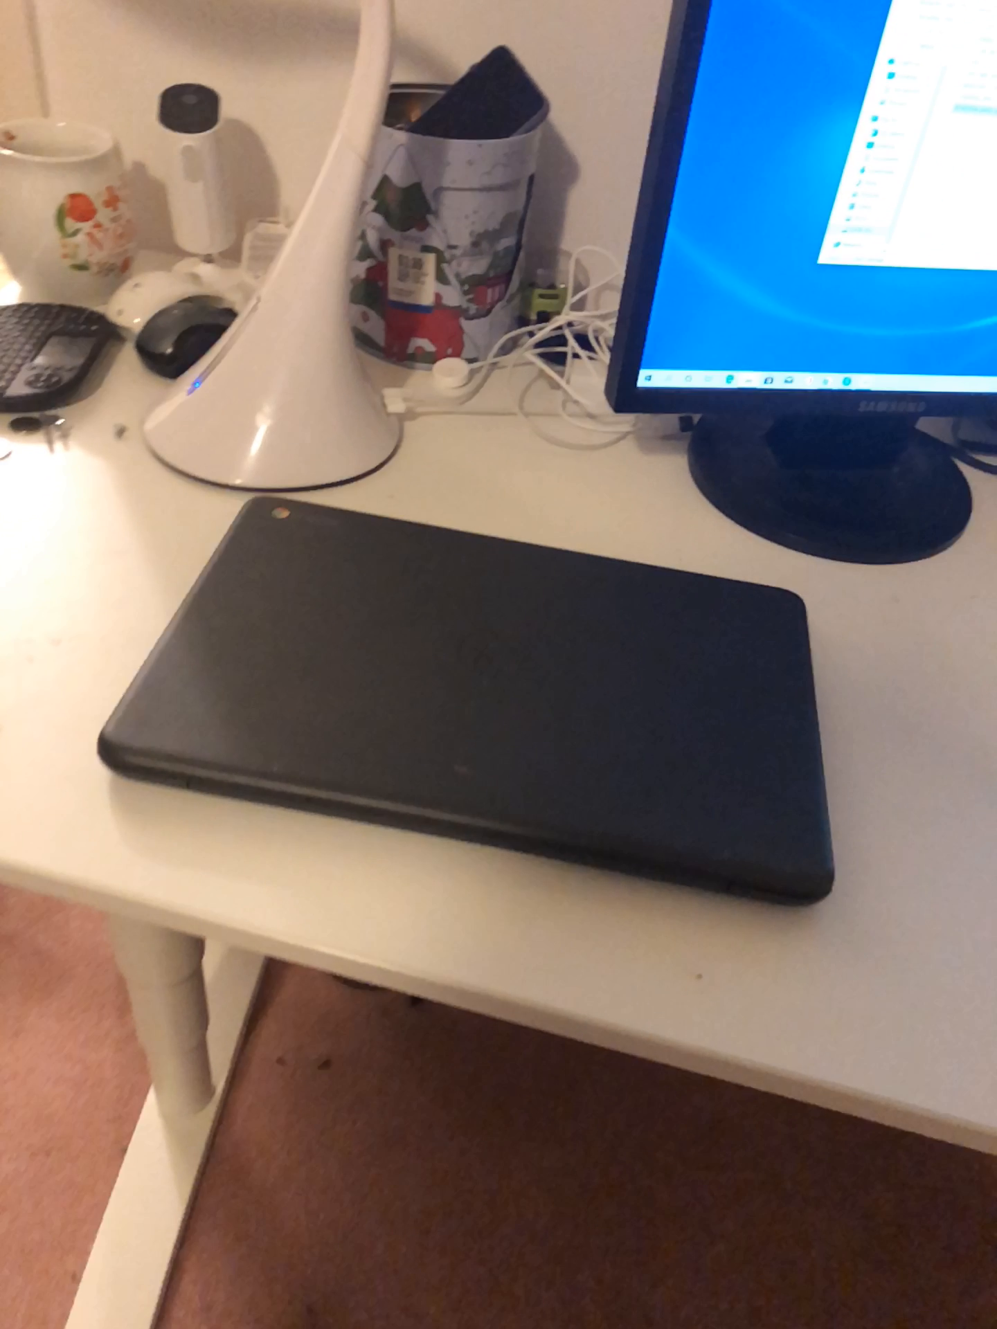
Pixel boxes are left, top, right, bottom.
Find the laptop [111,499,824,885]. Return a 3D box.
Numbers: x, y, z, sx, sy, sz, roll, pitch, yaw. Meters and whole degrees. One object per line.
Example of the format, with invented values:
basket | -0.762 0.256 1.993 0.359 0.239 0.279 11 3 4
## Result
laptop | -0.002 -0.001 0.568 0.325 0.001 0.210 10 41 2
